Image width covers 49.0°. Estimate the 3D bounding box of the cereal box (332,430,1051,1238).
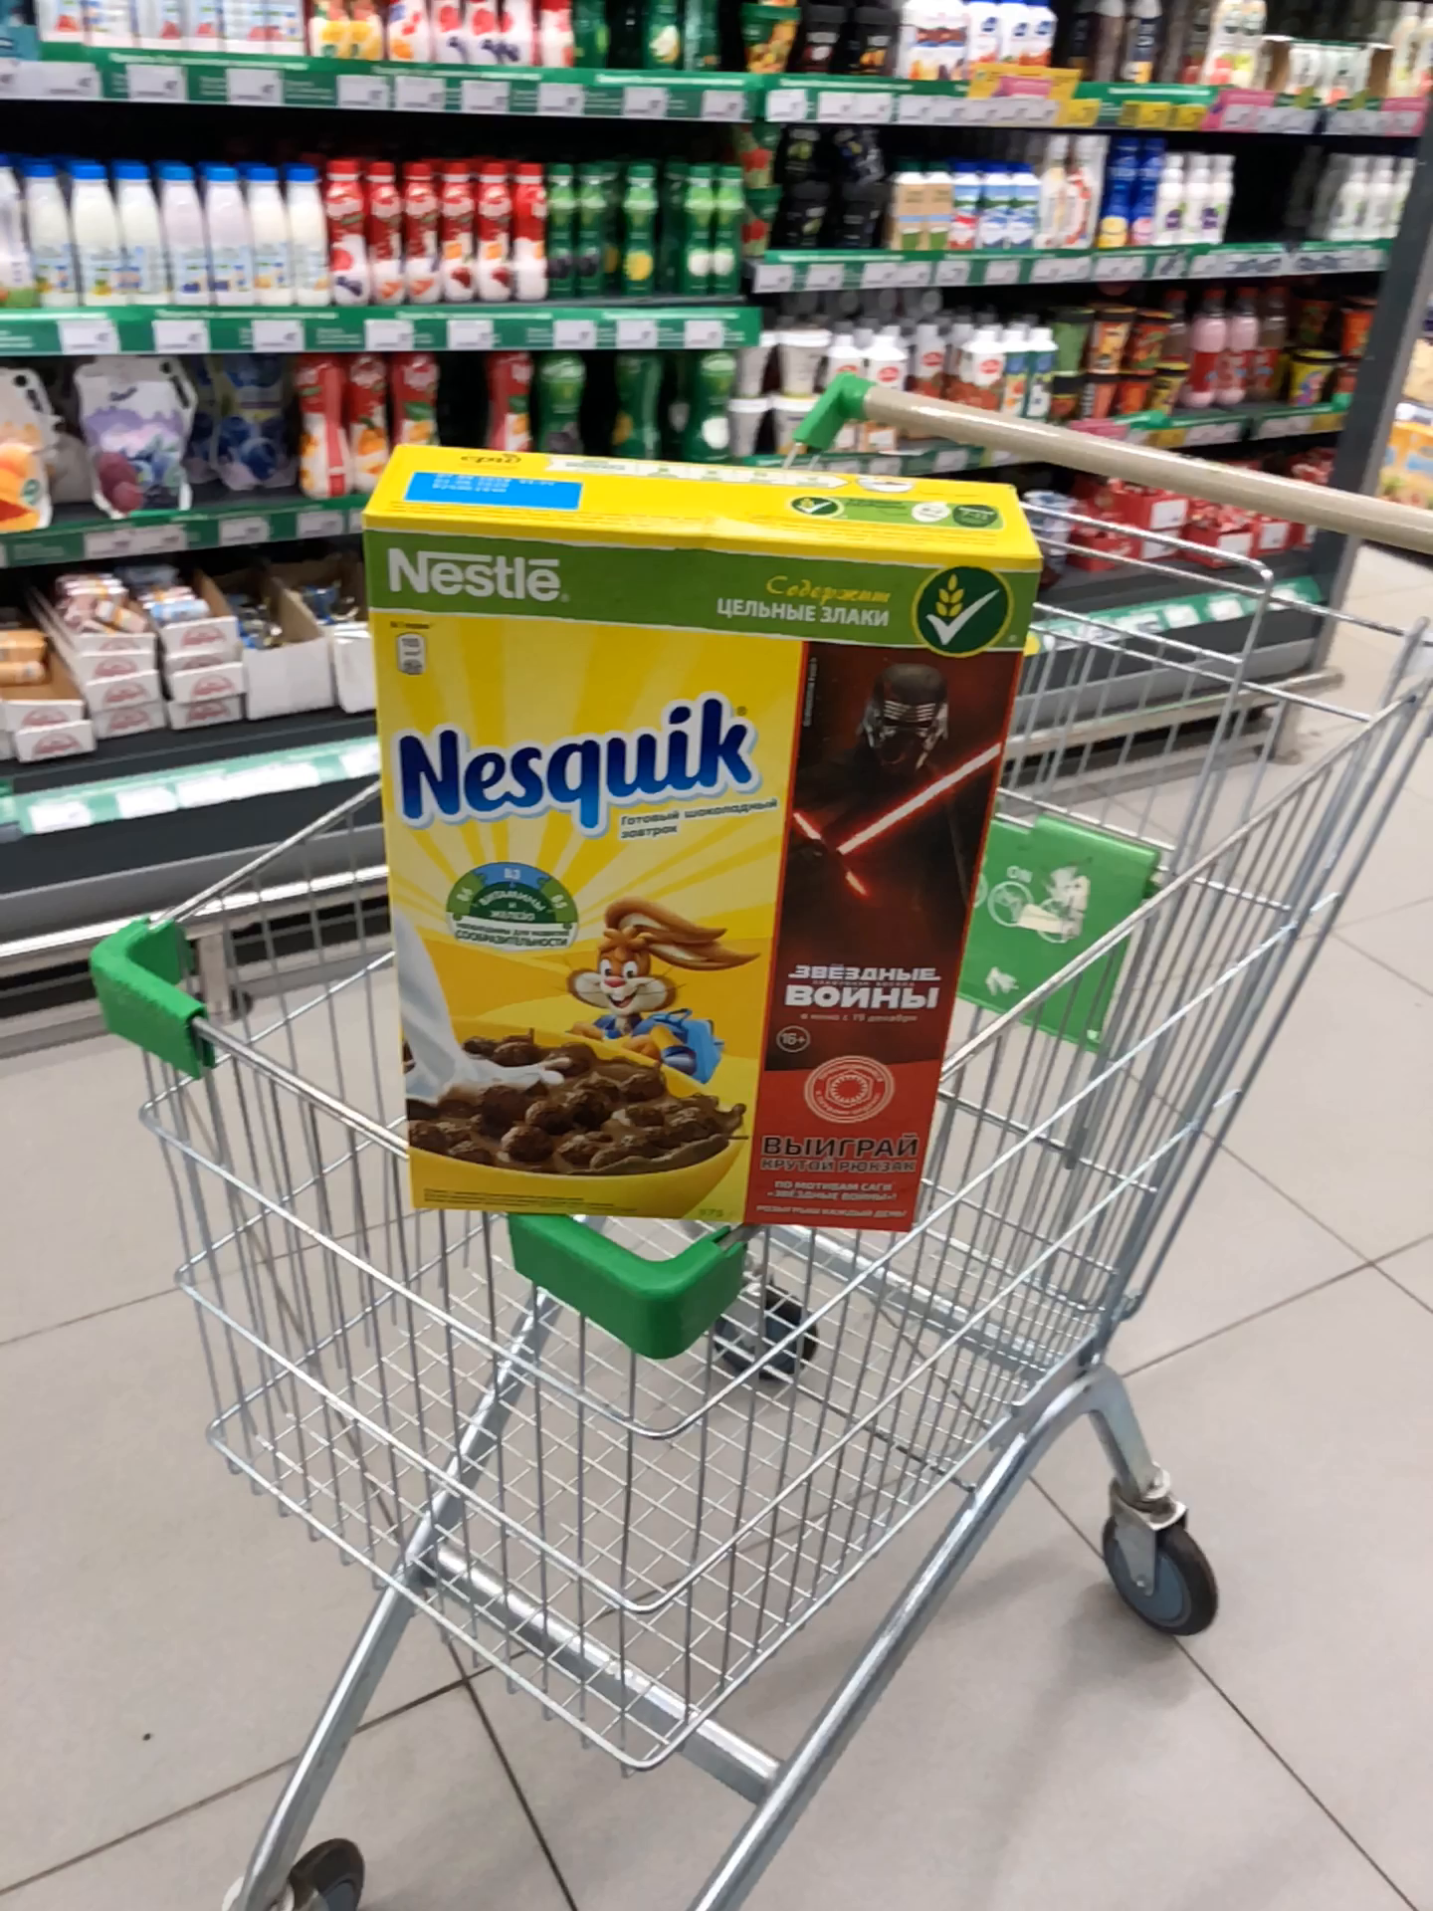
[{"bbox_3d":[-0.015,-0.029,0.544,0.200,0.268,0.070,3,36,-2],"label":"cereal box"}]
